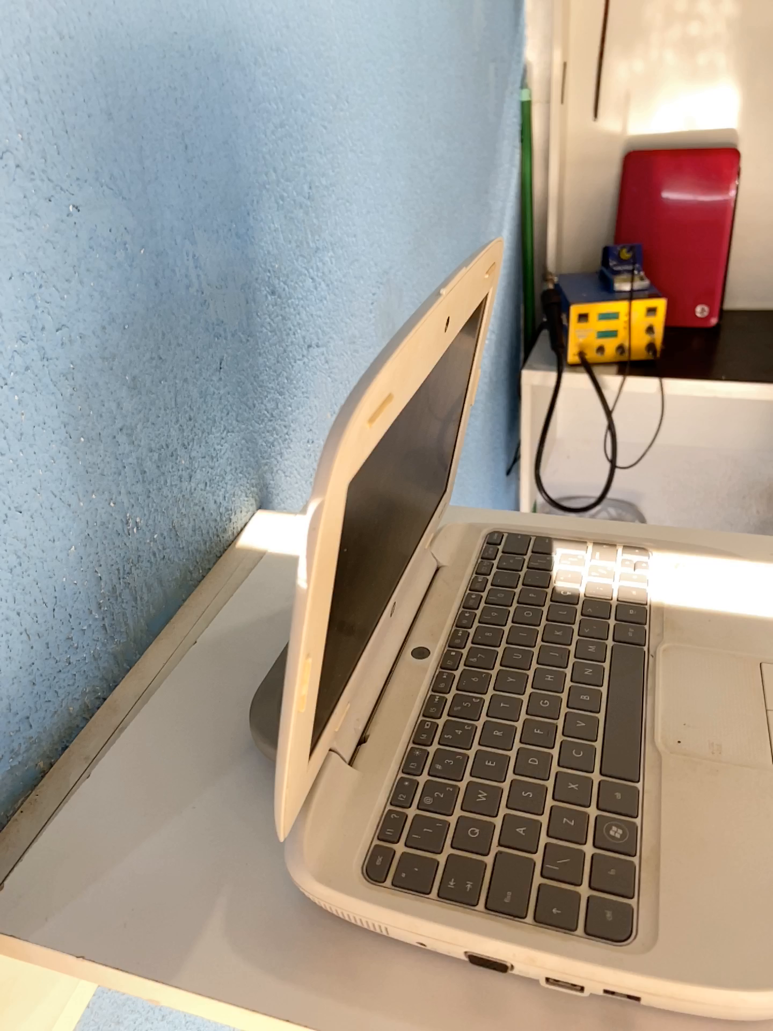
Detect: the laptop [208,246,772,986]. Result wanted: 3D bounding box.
[{"bbox_3d":[0.081,0.005,0.340,0.177,0.172,0.249,6,32,17],"label":"laptop"}]
